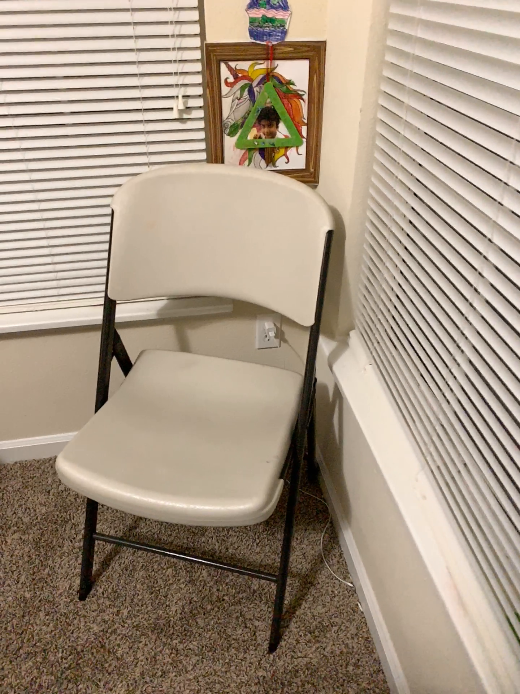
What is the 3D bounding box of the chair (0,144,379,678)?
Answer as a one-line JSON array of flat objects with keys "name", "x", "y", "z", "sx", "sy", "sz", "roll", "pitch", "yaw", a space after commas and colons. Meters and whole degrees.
[{"name": "chair", "x": -0.137, "y": 0.084, "z": 1.169, "sx": 0.610, "sy": 0.816, "sz": 0.683, "roll": 10, "pitch": 36, "yaw": 14}]
